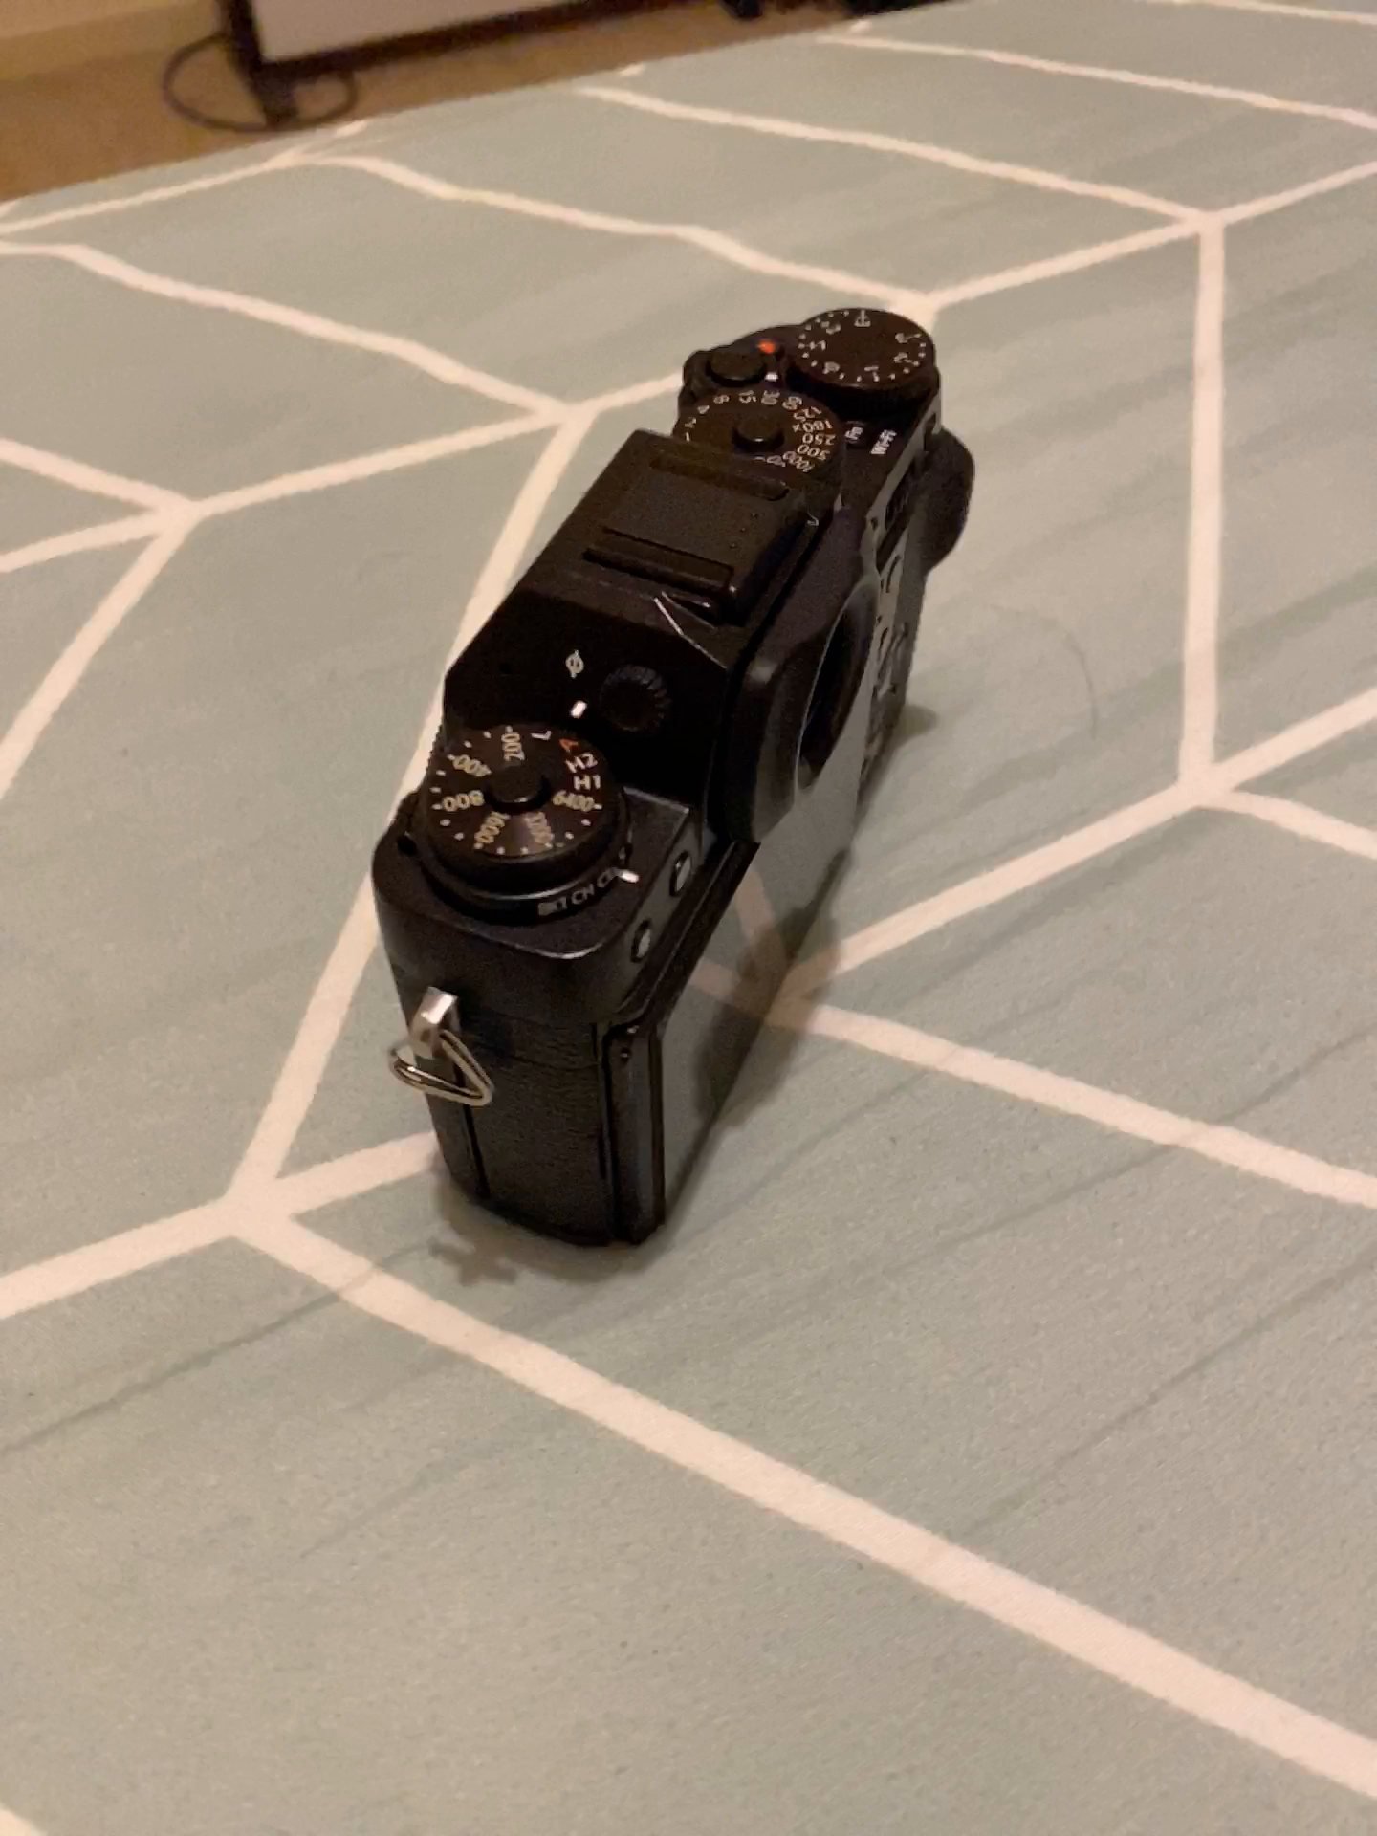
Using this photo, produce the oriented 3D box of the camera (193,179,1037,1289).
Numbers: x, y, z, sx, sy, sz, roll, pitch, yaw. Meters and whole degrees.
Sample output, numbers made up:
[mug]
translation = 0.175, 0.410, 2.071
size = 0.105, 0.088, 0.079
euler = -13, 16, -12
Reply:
[camera]
translation = 0.000, -0.030, 0.209
size = 0.051, 0.087, 0.131
euler = 19, 55, 14
